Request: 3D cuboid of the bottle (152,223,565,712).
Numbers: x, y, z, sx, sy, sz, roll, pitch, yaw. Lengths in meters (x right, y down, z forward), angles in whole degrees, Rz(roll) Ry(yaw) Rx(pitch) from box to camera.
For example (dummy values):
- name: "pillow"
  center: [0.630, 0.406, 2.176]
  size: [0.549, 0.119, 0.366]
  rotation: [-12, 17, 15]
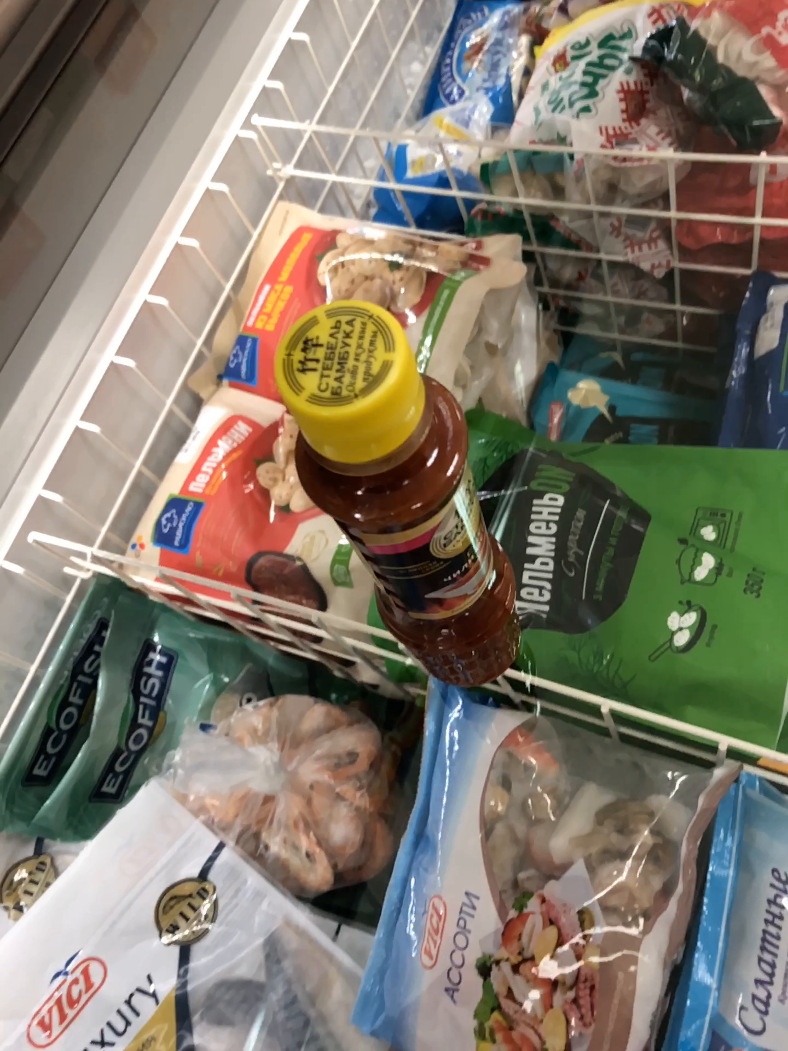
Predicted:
- name: "bottle"
  center: [0.009, 0.001, 0.276]
  size: [0.060, 0.199, 0.060]
  rotation: [-6, 65, 13]
